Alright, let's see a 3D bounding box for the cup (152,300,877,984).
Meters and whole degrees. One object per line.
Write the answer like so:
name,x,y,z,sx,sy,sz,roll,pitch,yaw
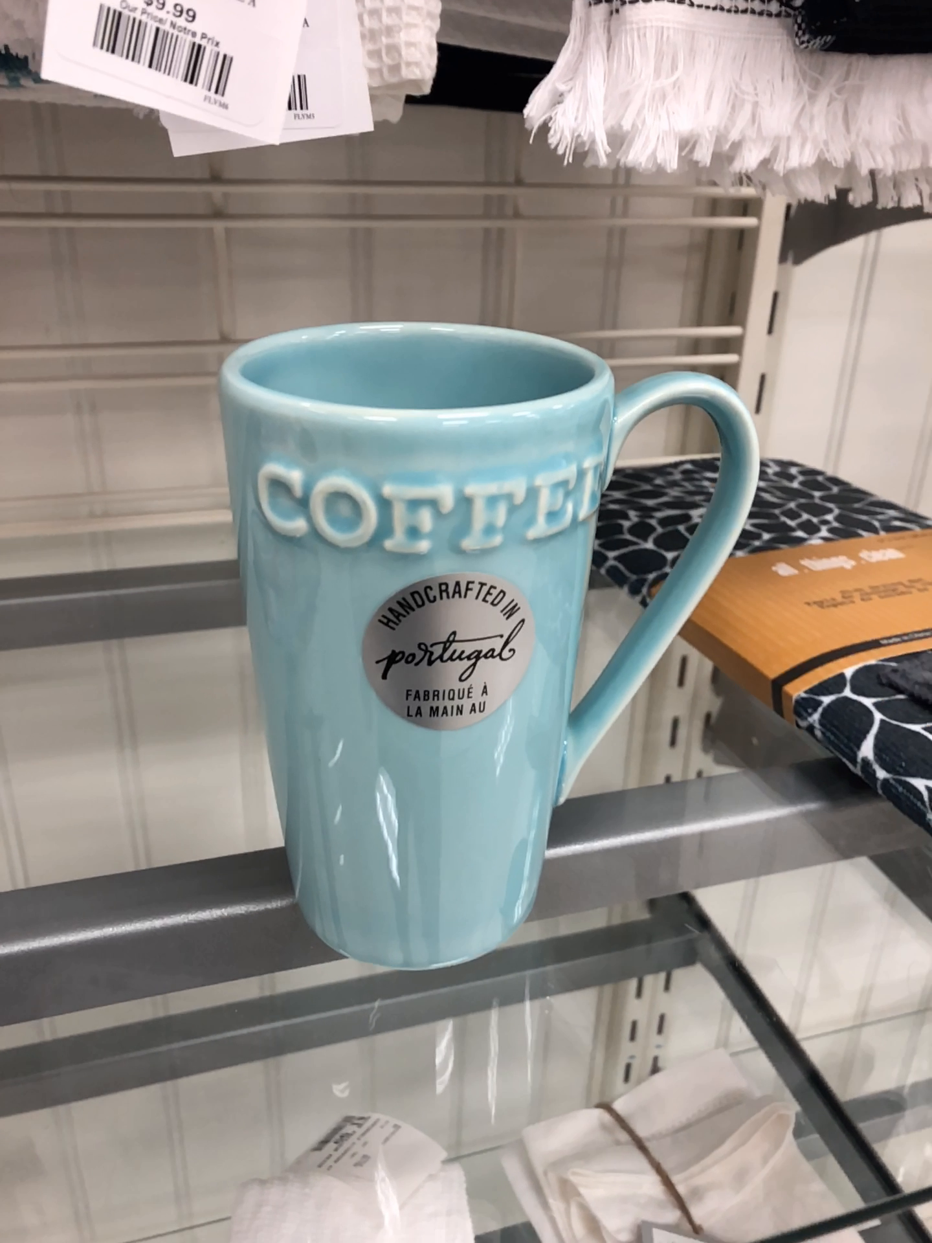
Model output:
cup,0.005,0.001,0.255,0.130,0.139,0.091,0,26,-4
